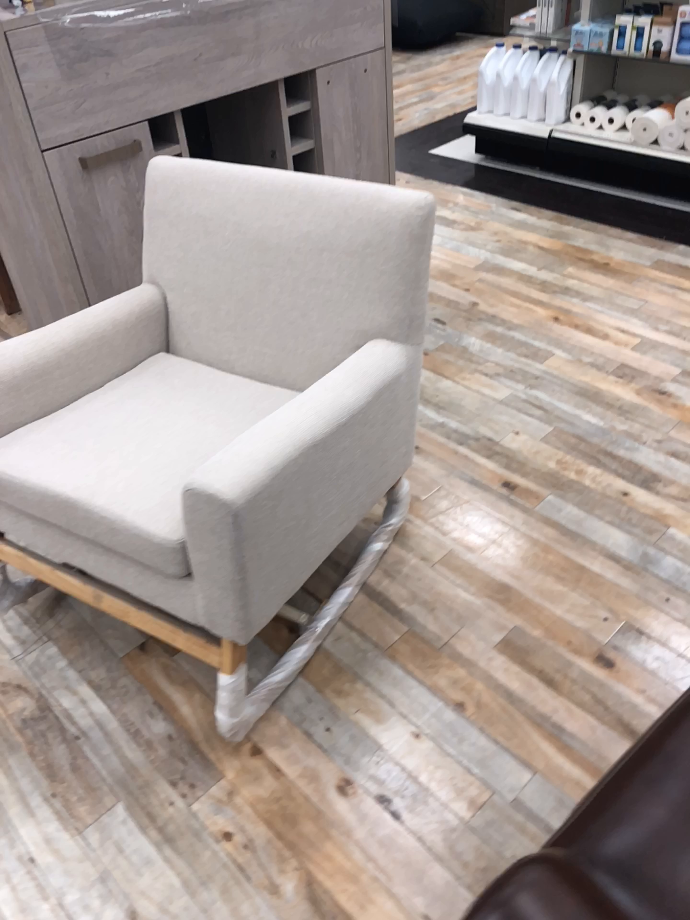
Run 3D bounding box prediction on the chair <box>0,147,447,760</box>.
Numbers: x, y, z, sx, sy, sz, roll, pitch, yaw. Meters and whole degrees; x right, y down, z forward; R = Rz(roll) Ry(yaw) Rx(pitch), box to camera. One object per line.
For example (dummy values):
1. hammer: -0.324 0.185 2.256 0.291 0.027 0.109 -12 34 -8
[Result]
1. chair: -0.293 -0.083 1.441 0.702 0.707 0.741 19 44 27
